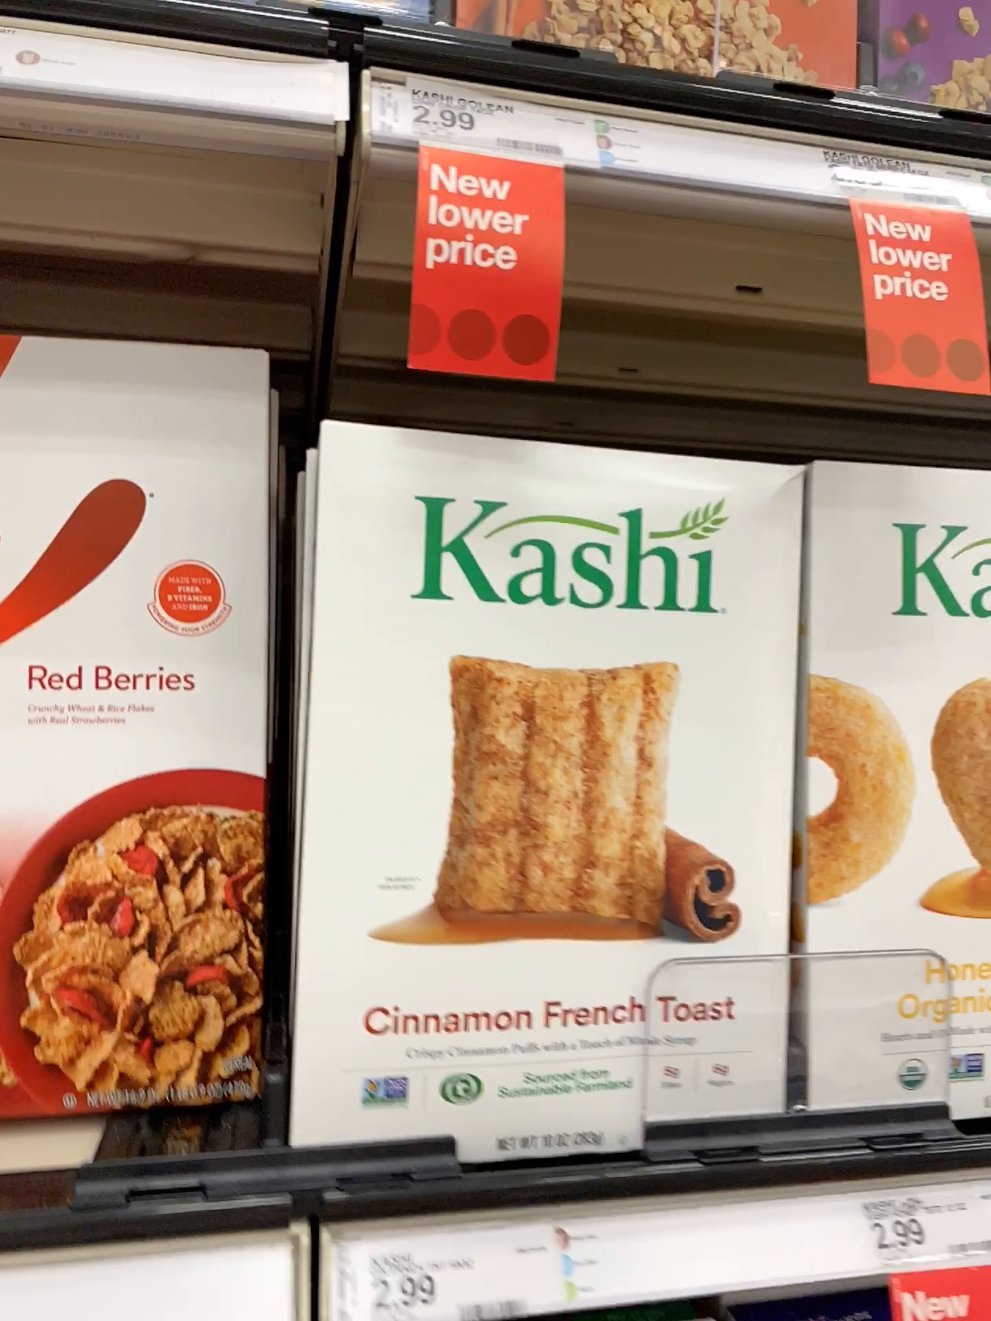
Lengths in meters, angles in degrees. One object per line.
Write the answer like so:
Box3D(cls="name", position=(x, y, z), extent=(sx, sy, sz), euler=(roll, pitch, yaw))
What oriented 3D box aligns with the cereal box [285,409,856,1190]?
Box3D(cls="cereal box", position=(0.028, 0.050, 0.406), extent=(0.210, 0.270, 0.060), euler=(2, -1, -11))
